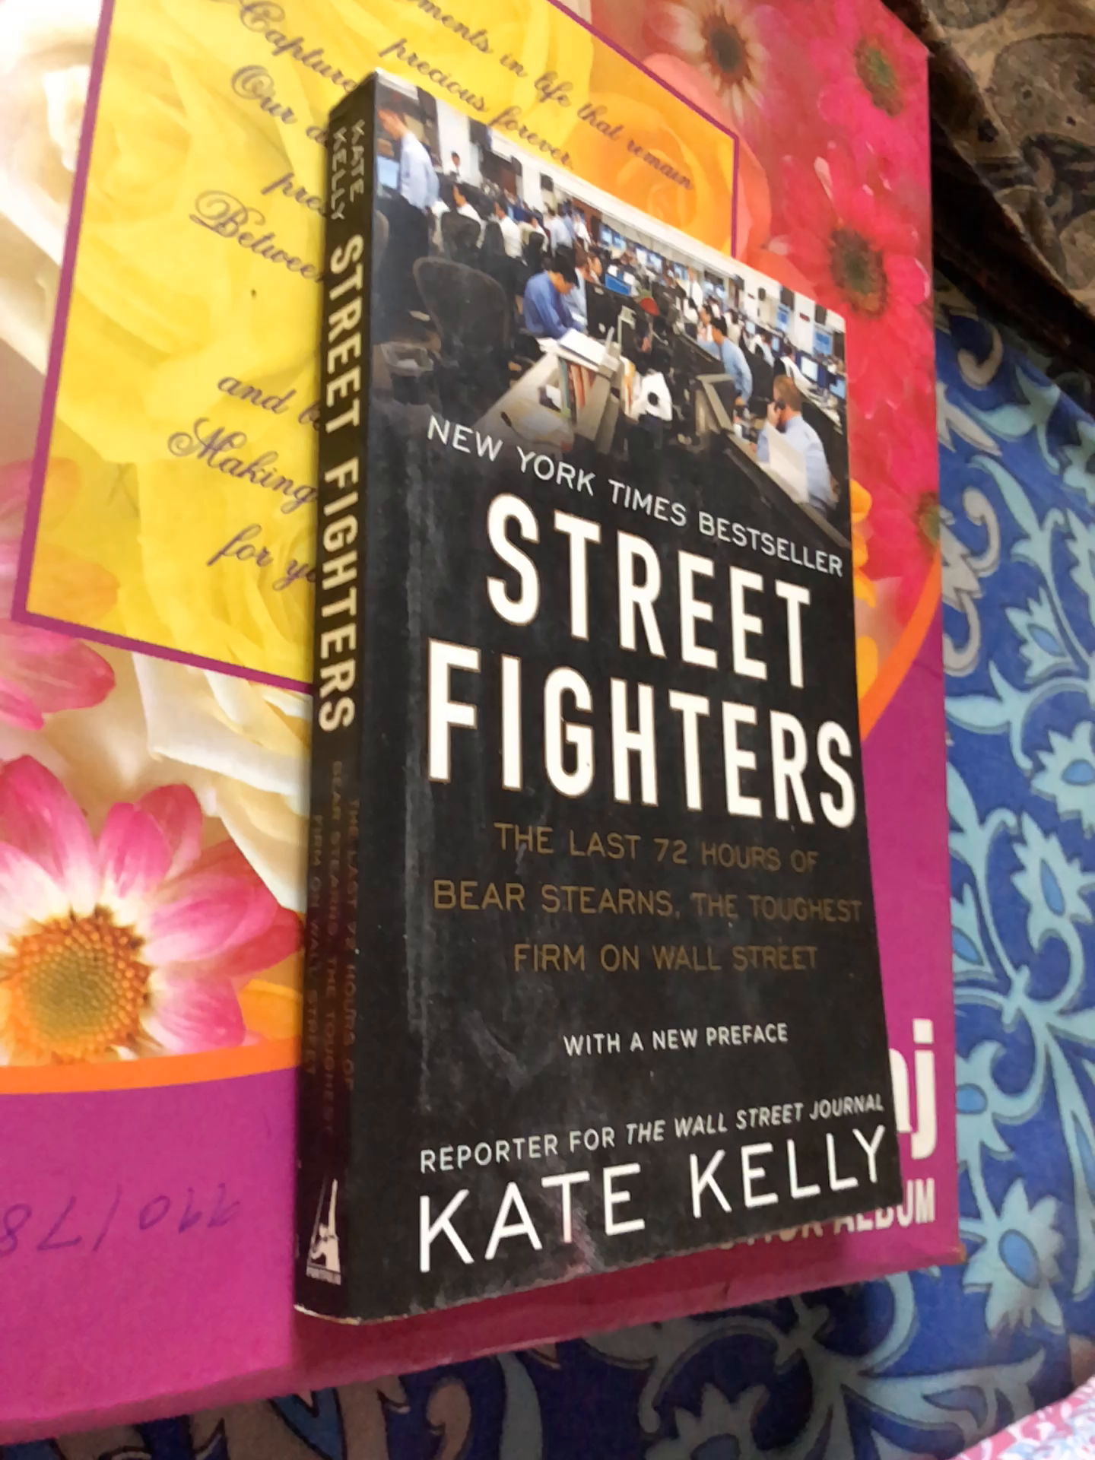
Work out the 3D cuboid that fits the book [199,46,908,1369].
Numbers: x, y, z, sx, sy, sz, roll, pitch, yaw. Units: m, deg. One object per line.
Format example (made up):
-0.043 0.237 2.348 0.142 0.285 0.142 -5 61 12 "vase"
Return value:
0.010 -0.004 0.244 0.141 0.030 0.210 8 77 -36 "book"
